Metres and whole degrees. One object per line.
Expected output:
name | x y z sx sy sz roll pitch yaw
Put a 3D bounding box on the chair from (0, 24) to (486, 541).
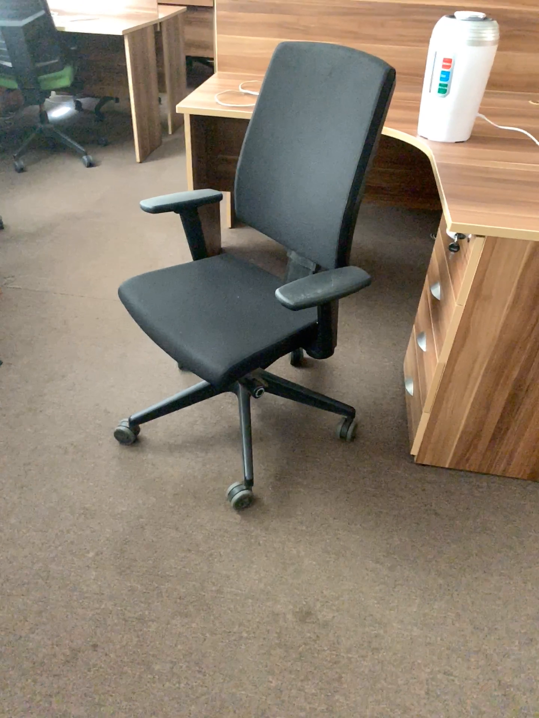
chair | -0.091 -0.254 1.389 0.792 0.915 0.672 -26 46 -32
